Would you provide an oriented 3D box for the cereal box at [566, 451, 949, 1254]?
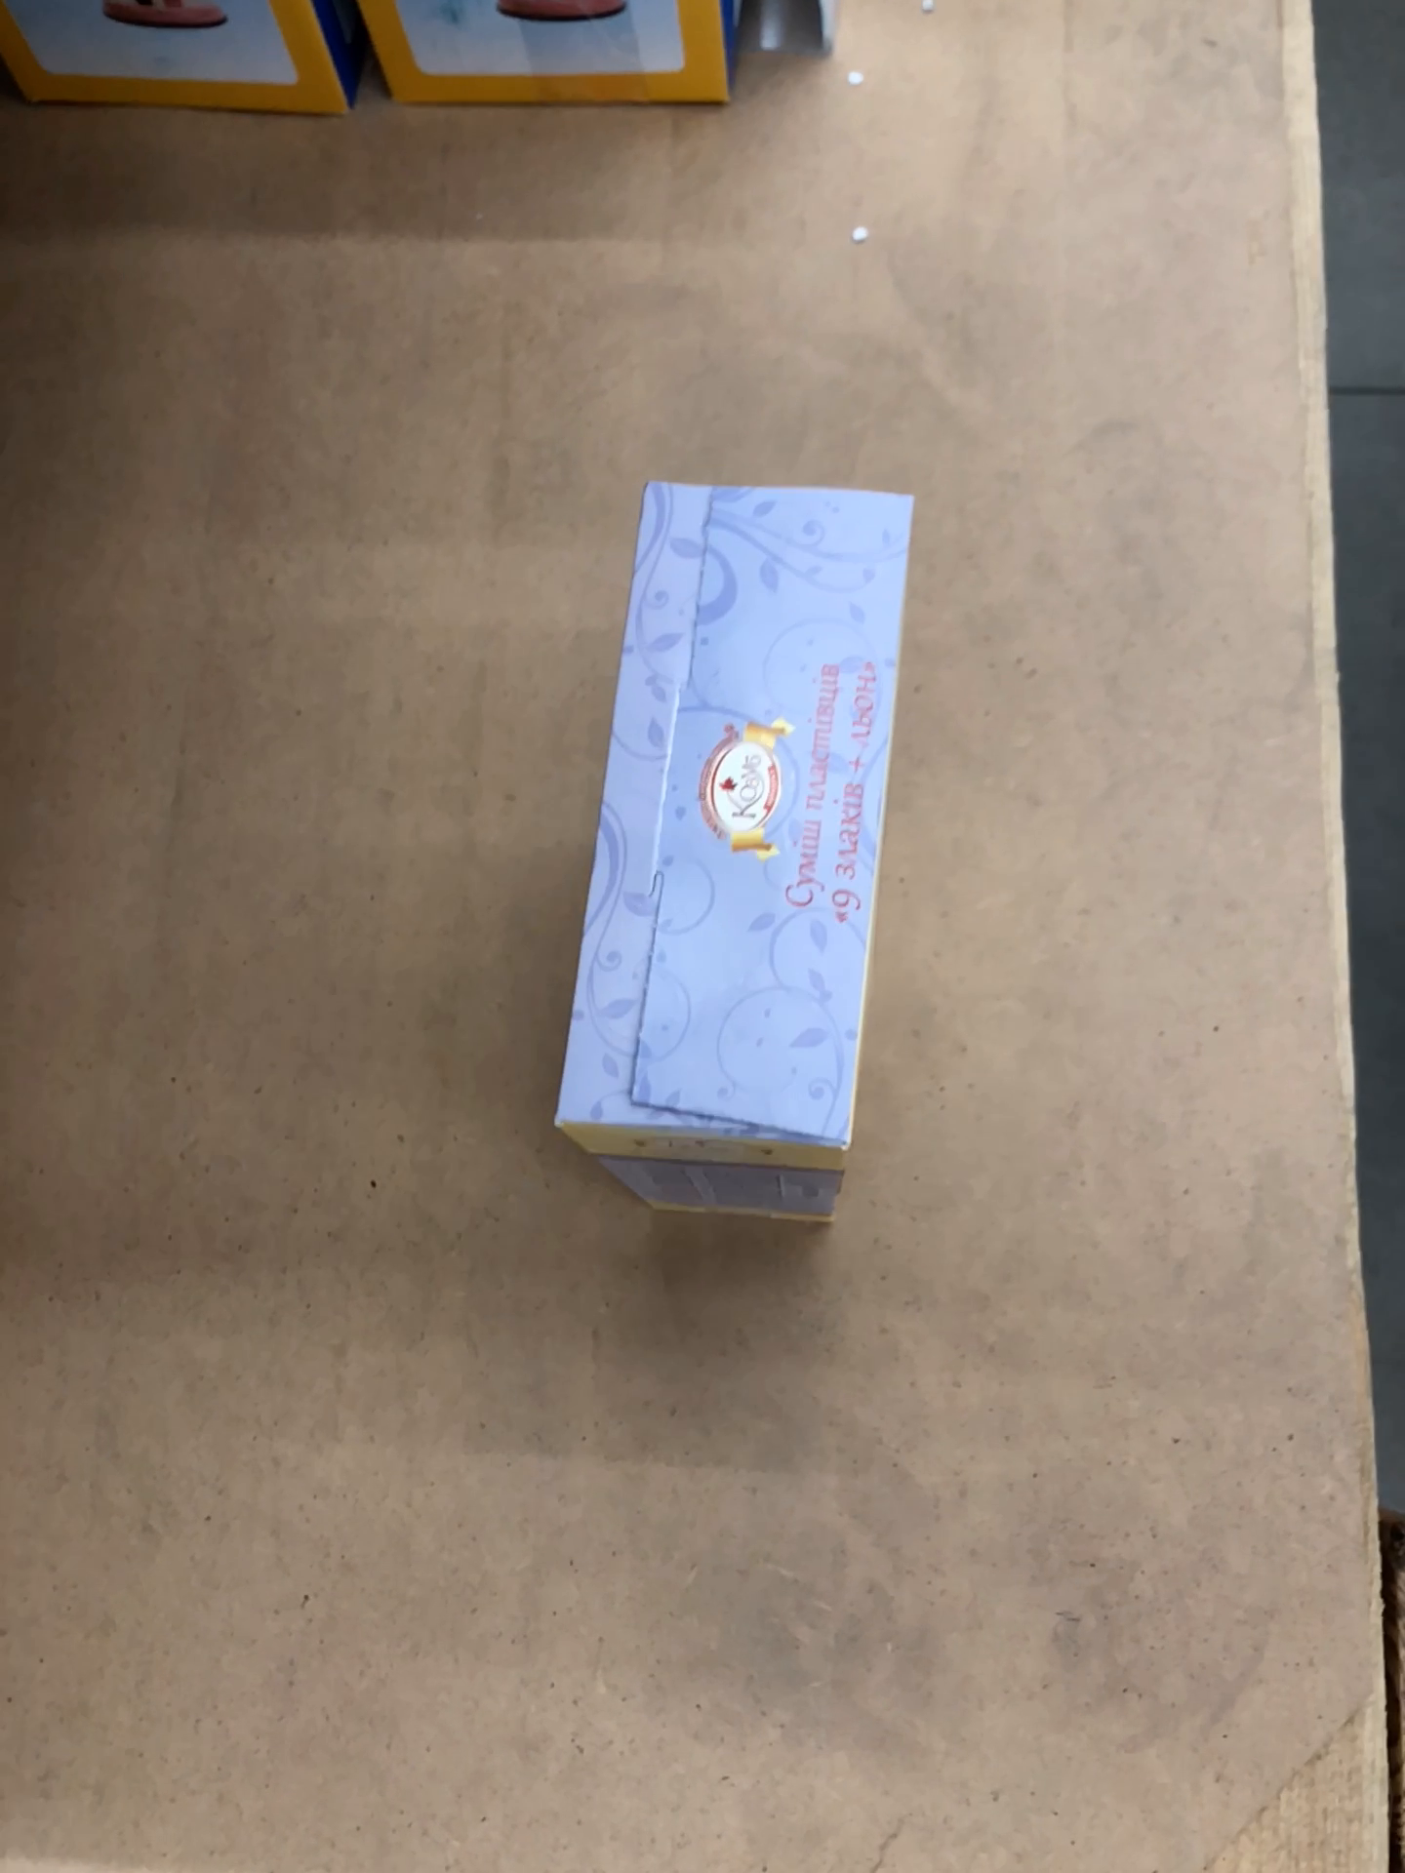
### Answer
[{"bbox_3d":[0.018,-0.002,0.483,0.070,0.240,0.180,7,76,3],"label":"cereal box"}]
